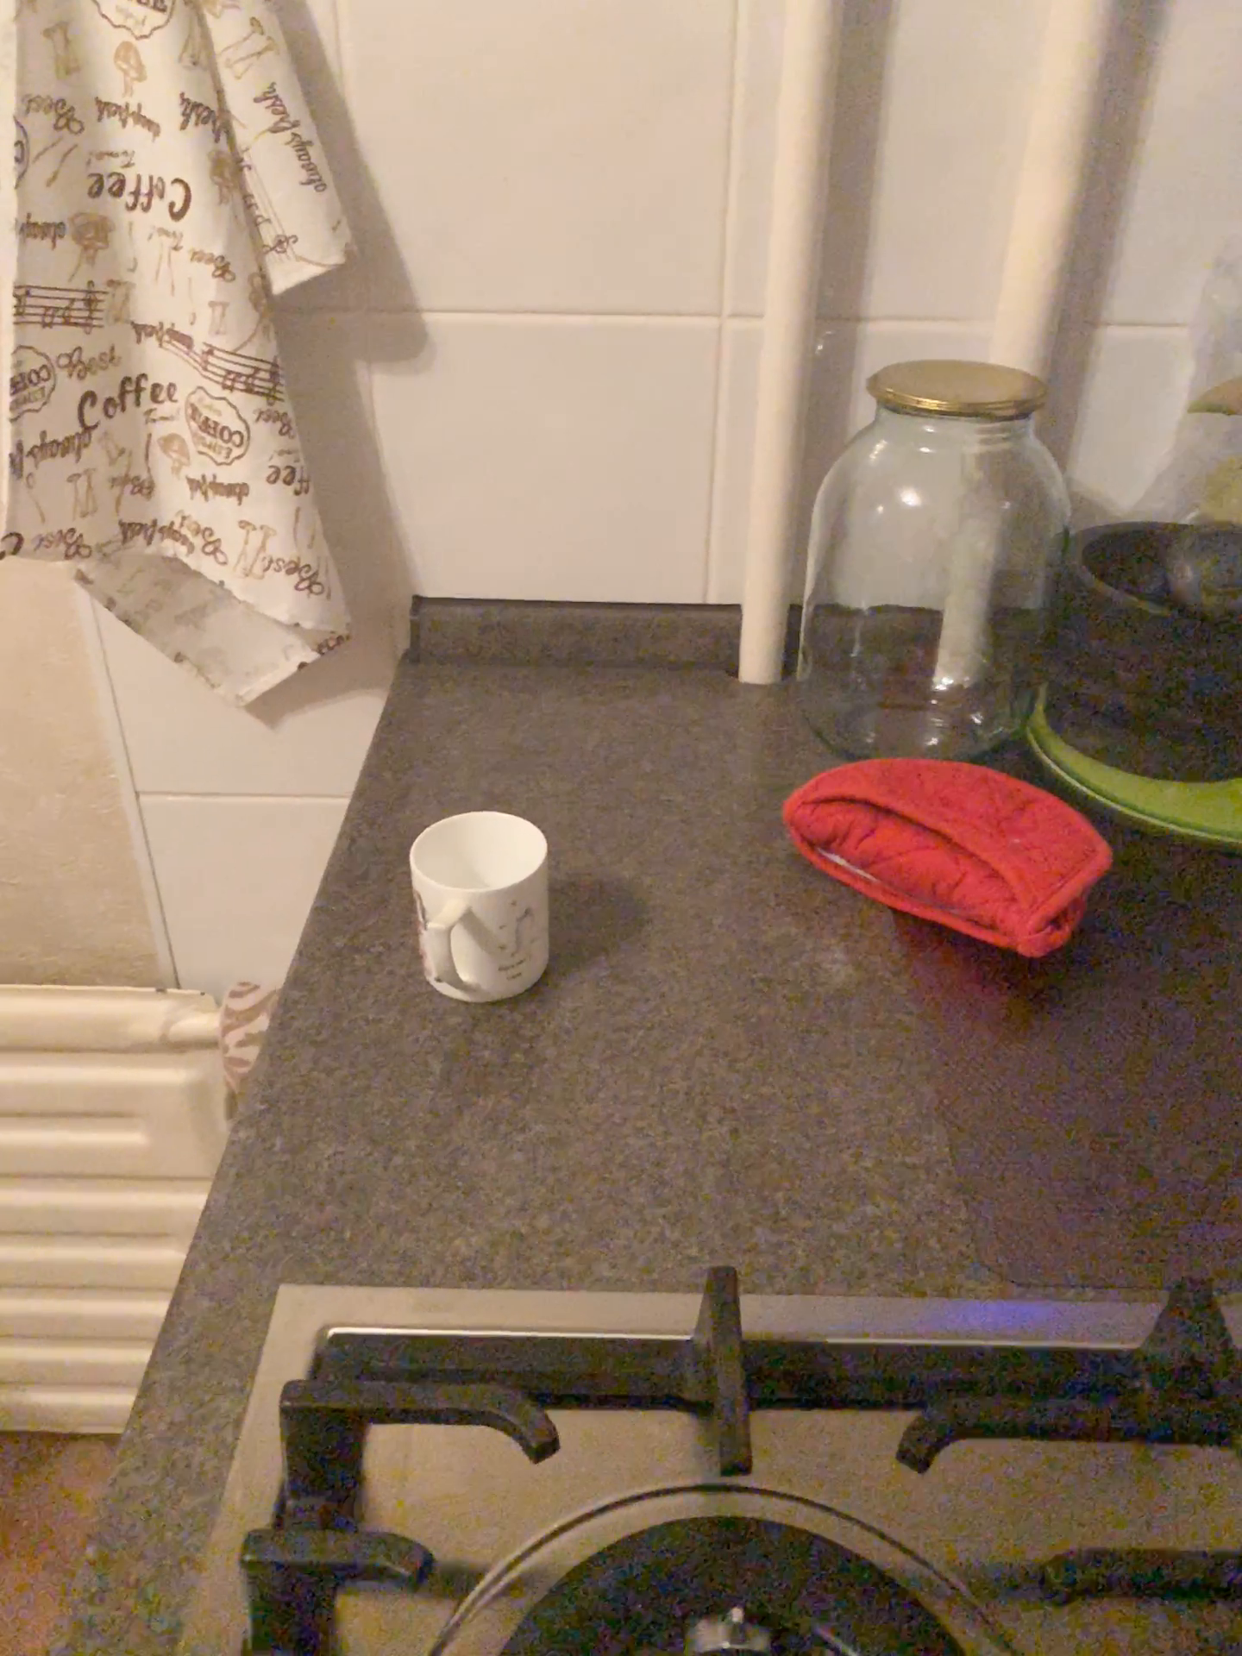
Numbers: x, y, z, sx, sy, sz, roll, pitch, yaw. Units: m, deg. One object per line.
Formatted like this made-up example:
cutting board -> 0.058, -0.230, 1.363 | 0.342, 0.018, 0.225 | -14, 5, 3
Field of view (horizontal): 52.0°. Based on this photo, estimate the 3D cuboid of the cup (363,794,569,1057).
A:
cup -> -0.063, 0.040, 0.546 | 0.060, 0.069, 0.081 | 9, 34, 12
